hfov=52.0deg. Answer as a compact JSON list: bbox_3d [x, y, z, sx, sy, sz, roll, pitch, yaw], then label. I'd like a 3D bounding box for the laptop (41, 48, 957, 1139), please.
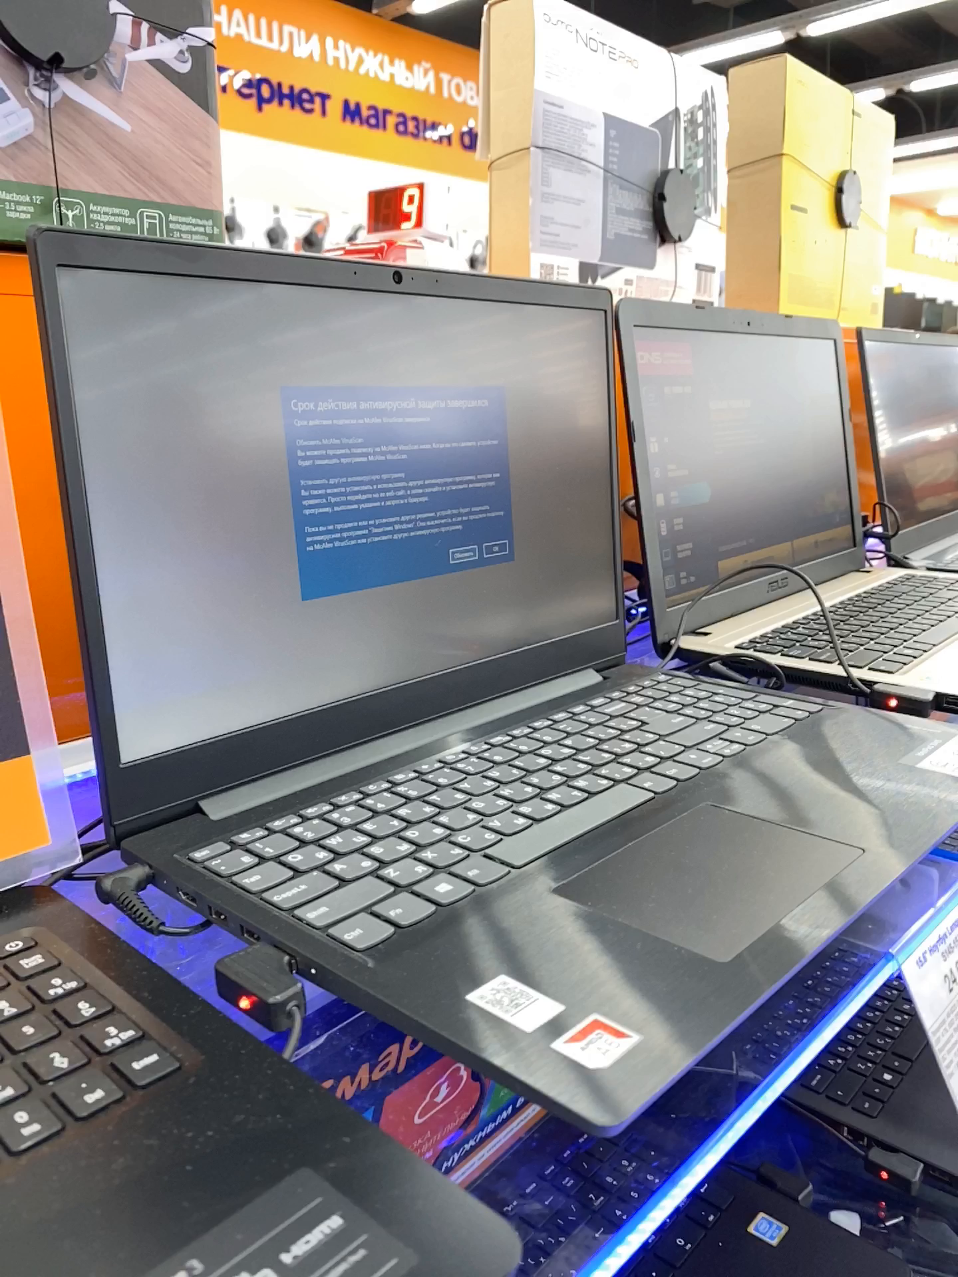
[{"bbox_3d":[0.058,-0.050,0.432,0.273,0.240,0.361,11,18,43],"label":"laptop"}]
